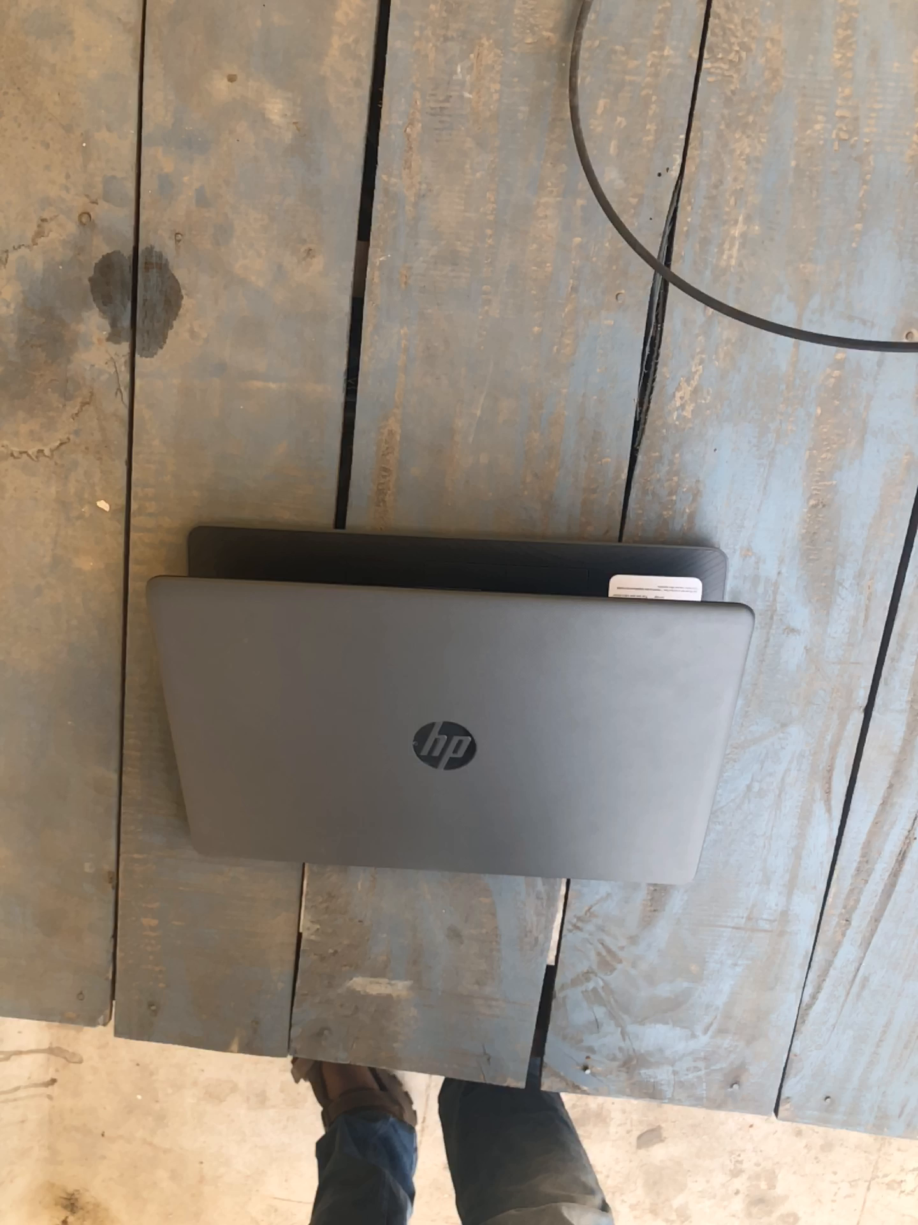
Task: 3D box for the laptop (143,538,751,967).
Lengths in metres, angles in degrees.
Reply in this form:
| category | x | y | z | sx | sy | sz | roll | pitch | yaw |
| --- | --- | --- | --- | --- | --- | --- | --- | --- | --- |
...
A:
| category | x | y | z | sx | sy | sz | roll | pitch | yaw |
| --- | --- | --- | --- | --- | --- | --- | --- | --- | --- |
| laptop | -0.012 | 0.088 | 0.676 | 0.361 | 0.097 | 0.243 | 3 | 105 | 2 |
